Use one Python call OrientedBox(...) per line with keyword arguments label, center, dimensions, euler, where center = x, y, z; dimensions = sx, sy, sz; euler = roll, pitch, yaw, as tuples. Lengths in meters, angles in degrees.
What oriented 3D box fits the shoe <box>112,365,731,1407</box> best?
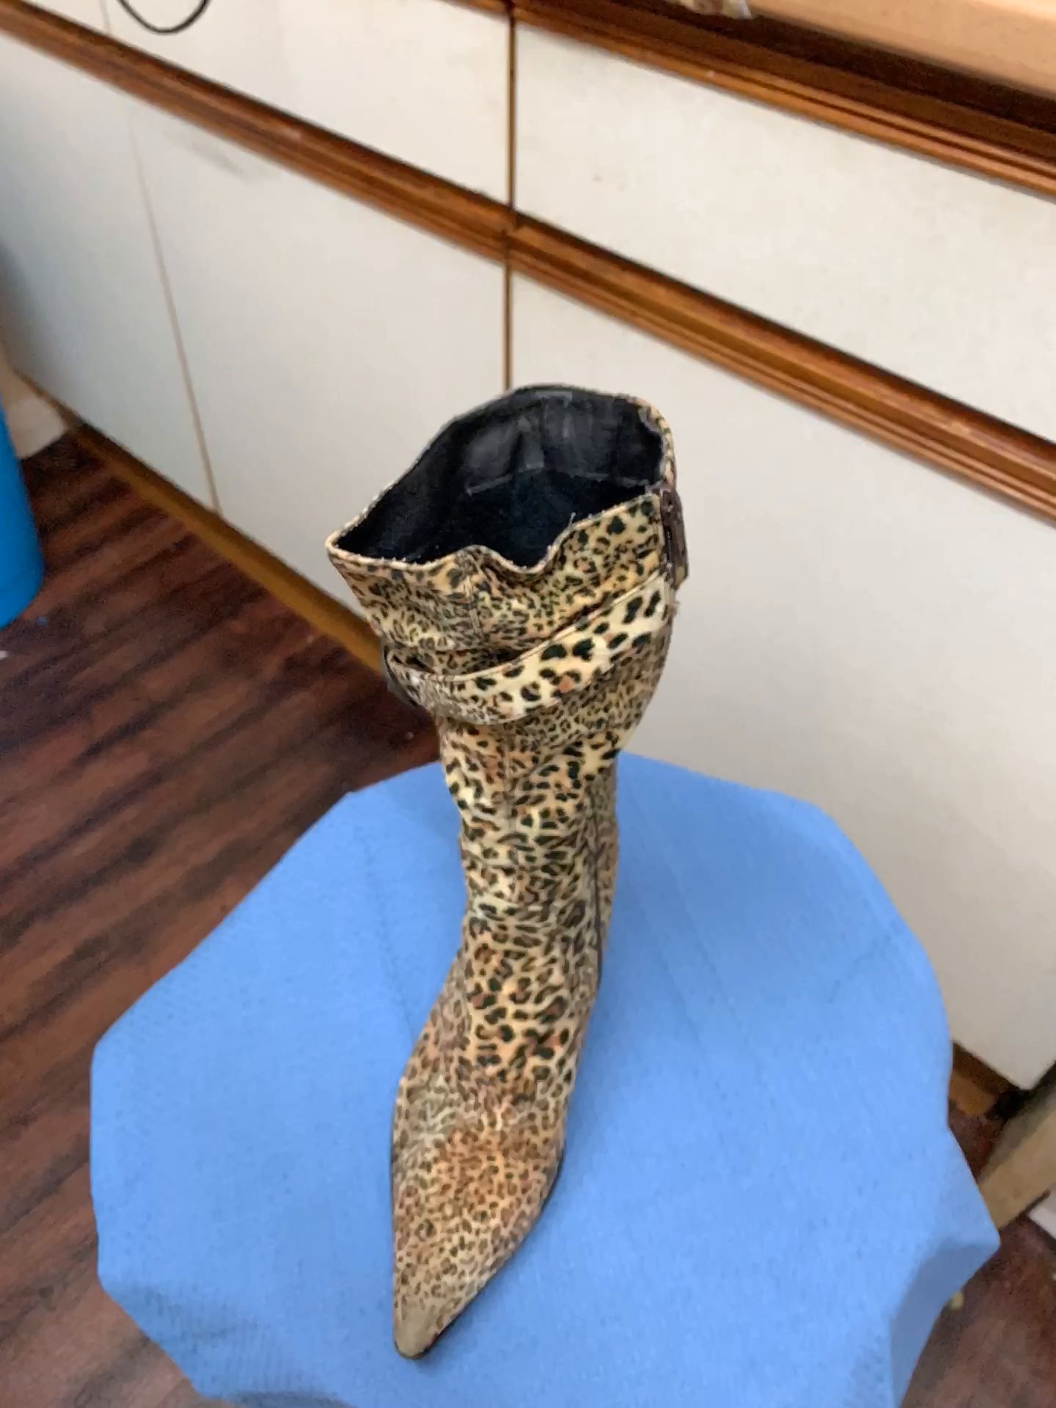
OrientedBox(label="shoe", center=(-0.013, 0.094, 0.442), dimensions=(0.100, 0.347, 0.262), euler=(12, 49, 9))
